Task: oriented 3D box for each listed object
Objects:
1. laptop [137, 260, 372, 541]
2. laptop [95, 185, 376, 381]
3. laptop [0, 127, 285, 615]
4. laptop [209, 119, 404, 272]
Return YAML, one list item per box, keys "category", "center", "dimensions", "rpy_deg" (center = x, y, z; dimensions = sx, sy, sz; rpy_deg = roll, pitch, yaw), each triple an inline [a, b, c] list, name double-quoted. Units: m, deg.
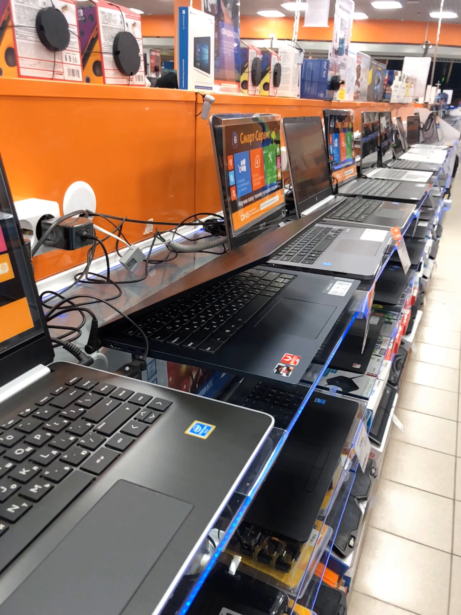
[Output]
- category: "laptop"
  center: [0.056, 0.108, 0.821]
  dimensions: [0.257, 0.227, 0.356]
  rpy_deg: [13, 25, 21]
- category: "laptop"
  center: [0.029, -0.056, 0.584]
  dimensions: [0.203, 0.108, 0.303]
  rpy_deg: [11, 25, 22]
- category: "laptop"
  center: [-0.140, 0.020, 0.268]
  dimensions: [0.250, 0.200, 0.303]
  rpy_deg: [11, 23, 21]
- category: "laptop"
  center: [0.148, -0.217, 0.890]
  dimensions: [0.257, 0.203, 0.332]
  rpy_deg: [9, 22, 17]
